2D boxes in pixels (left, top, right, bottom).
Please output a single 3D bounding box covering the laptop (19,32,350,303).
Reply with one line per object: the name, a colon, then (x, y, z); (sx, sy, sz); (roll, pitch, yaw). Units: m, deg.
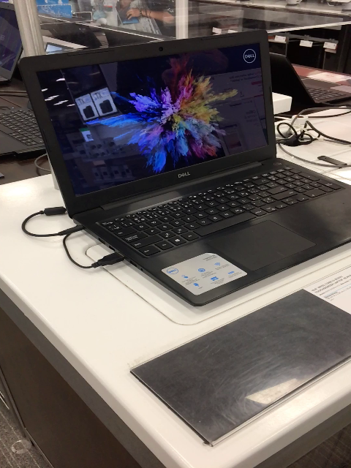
laptop: (0.086, -0.124, 0.631); (0.399, 0.222, 0.313); (-23, 42, -29)
